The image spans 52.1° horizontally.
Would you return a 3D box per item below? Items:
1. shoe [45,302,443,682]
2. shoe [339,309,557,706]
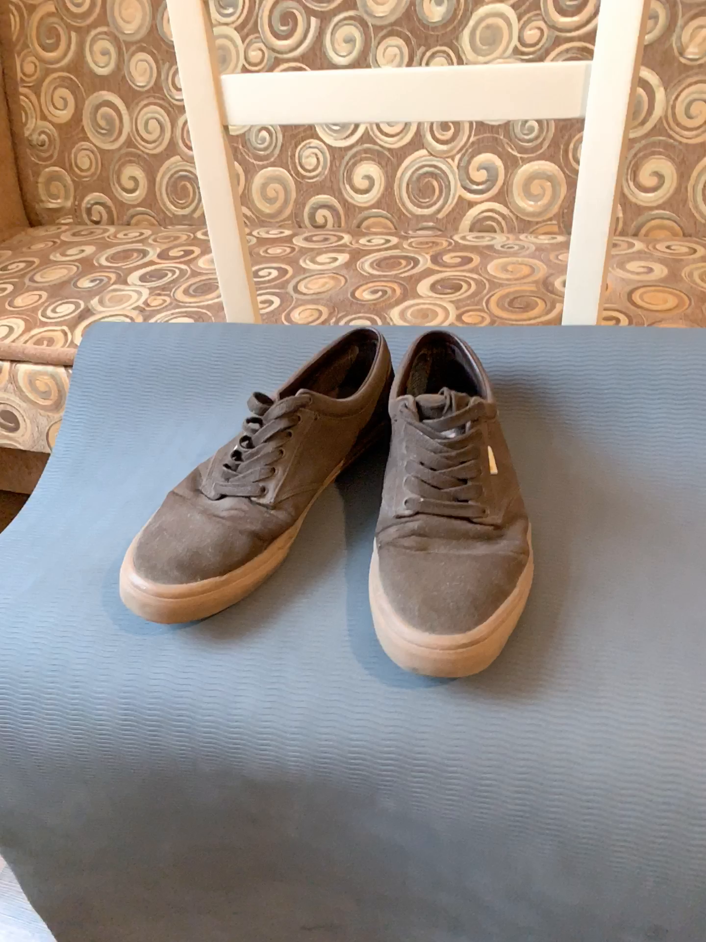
[{"bbox_3d":[-0.056,-0.011,0.564,0.110,0.080,0.341,18,46,27],"label":"shoe"},{"bbox_3d":[0.067,-0.001,0.514,0.110,0.080,0.322,0,40,8],"label":"shoe"}]
